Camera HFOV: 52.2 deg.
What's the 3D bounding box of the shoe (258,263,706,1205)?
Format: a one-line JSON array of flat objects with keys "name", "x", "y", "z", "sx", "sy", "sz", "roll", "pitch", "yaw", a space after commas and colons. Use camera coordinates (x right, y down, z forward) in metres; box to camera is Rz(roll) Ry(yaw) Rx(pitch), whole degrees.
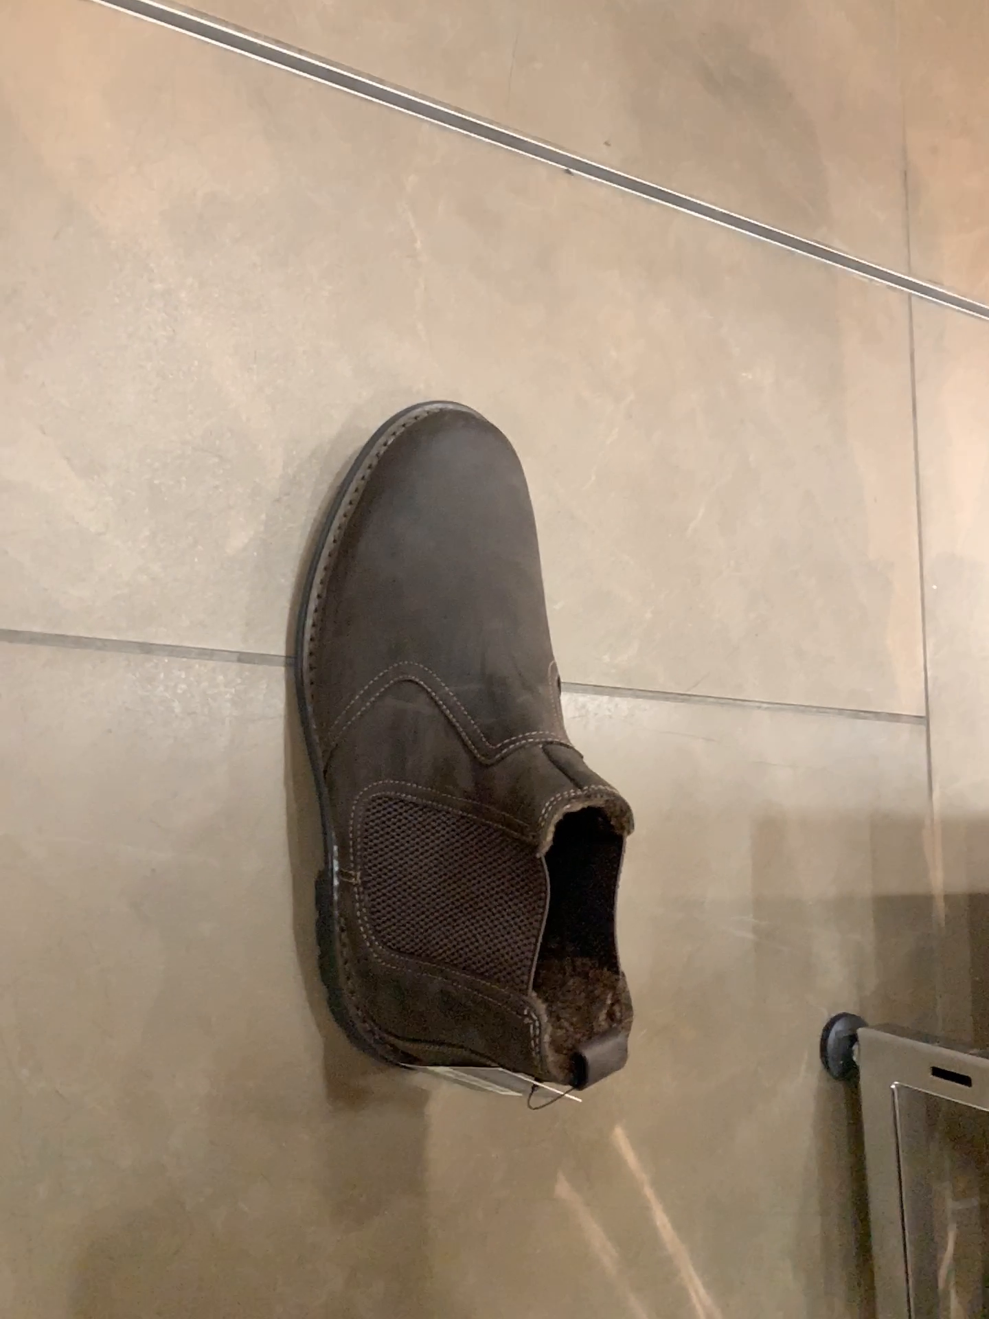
[{"name": "shoe", "x": -0.010, "y": 0.029, "z": 0.423, "sx": 0.114, "sy": 0.166, "sz": 0.304, "roll": 7, "pitch": 79, "yaw": -26}]
